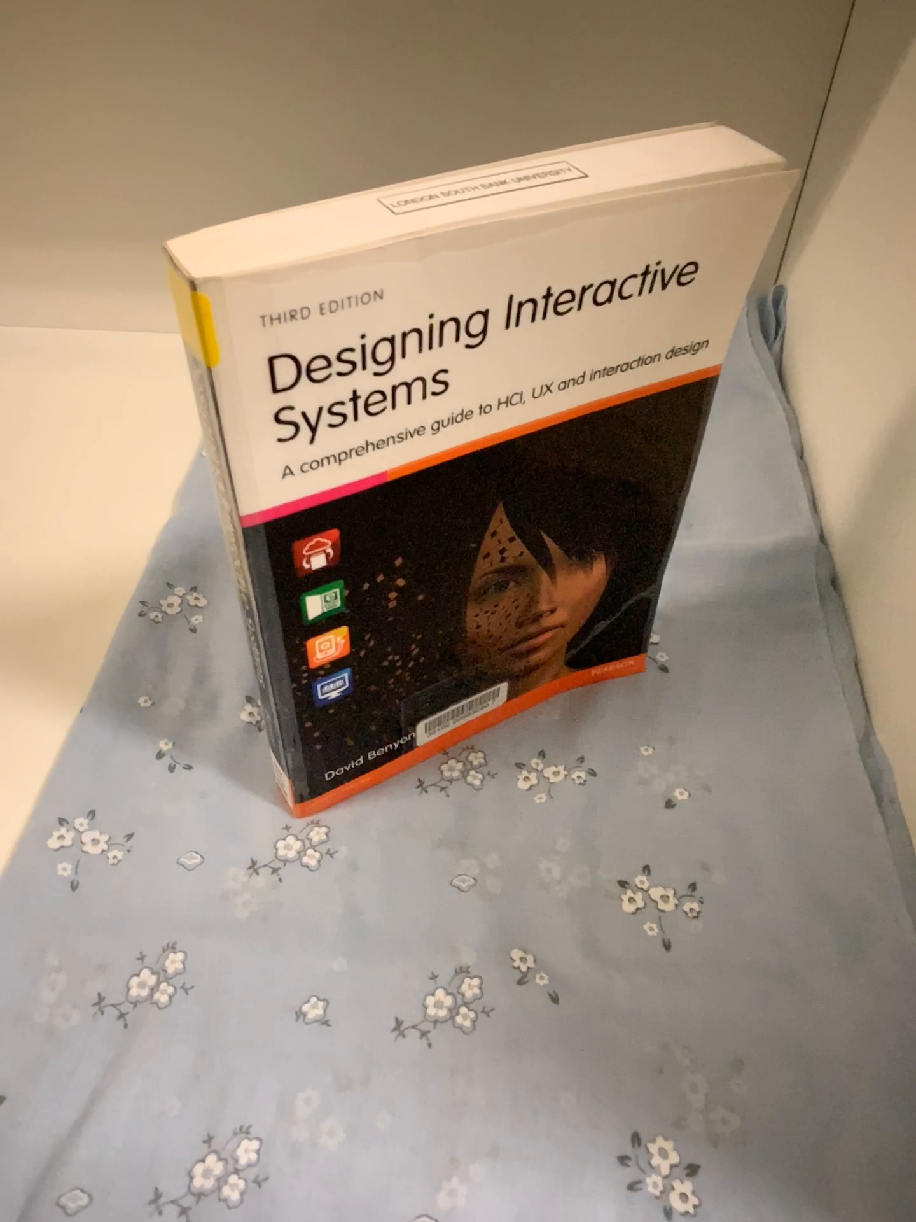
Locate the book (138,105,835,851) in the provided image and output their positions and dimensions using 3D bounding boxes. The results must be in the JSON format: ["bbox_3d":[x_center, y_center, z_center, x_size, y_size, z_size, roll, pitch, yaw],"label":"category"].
[{"bbox_3d":[0.013,-0.035,0.374,0.216,0.269,0.041,-21,51,-21],"label":"book"}]
